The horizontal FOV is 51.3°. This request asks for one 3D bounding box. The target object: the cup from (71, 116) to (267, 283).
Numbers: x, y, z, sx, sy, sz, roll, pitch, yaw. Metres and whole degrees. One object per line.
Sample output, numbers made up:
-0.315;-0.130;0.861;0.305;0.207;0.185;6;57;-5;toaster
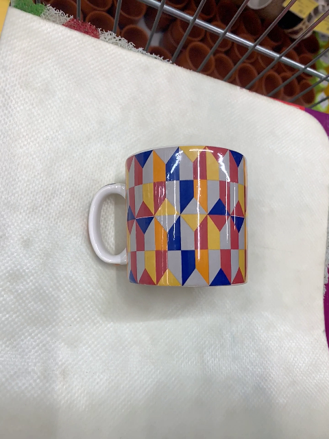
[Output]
0.009;-0.008;0.213;0.100;0.080;0.080;0;87;13;cup
